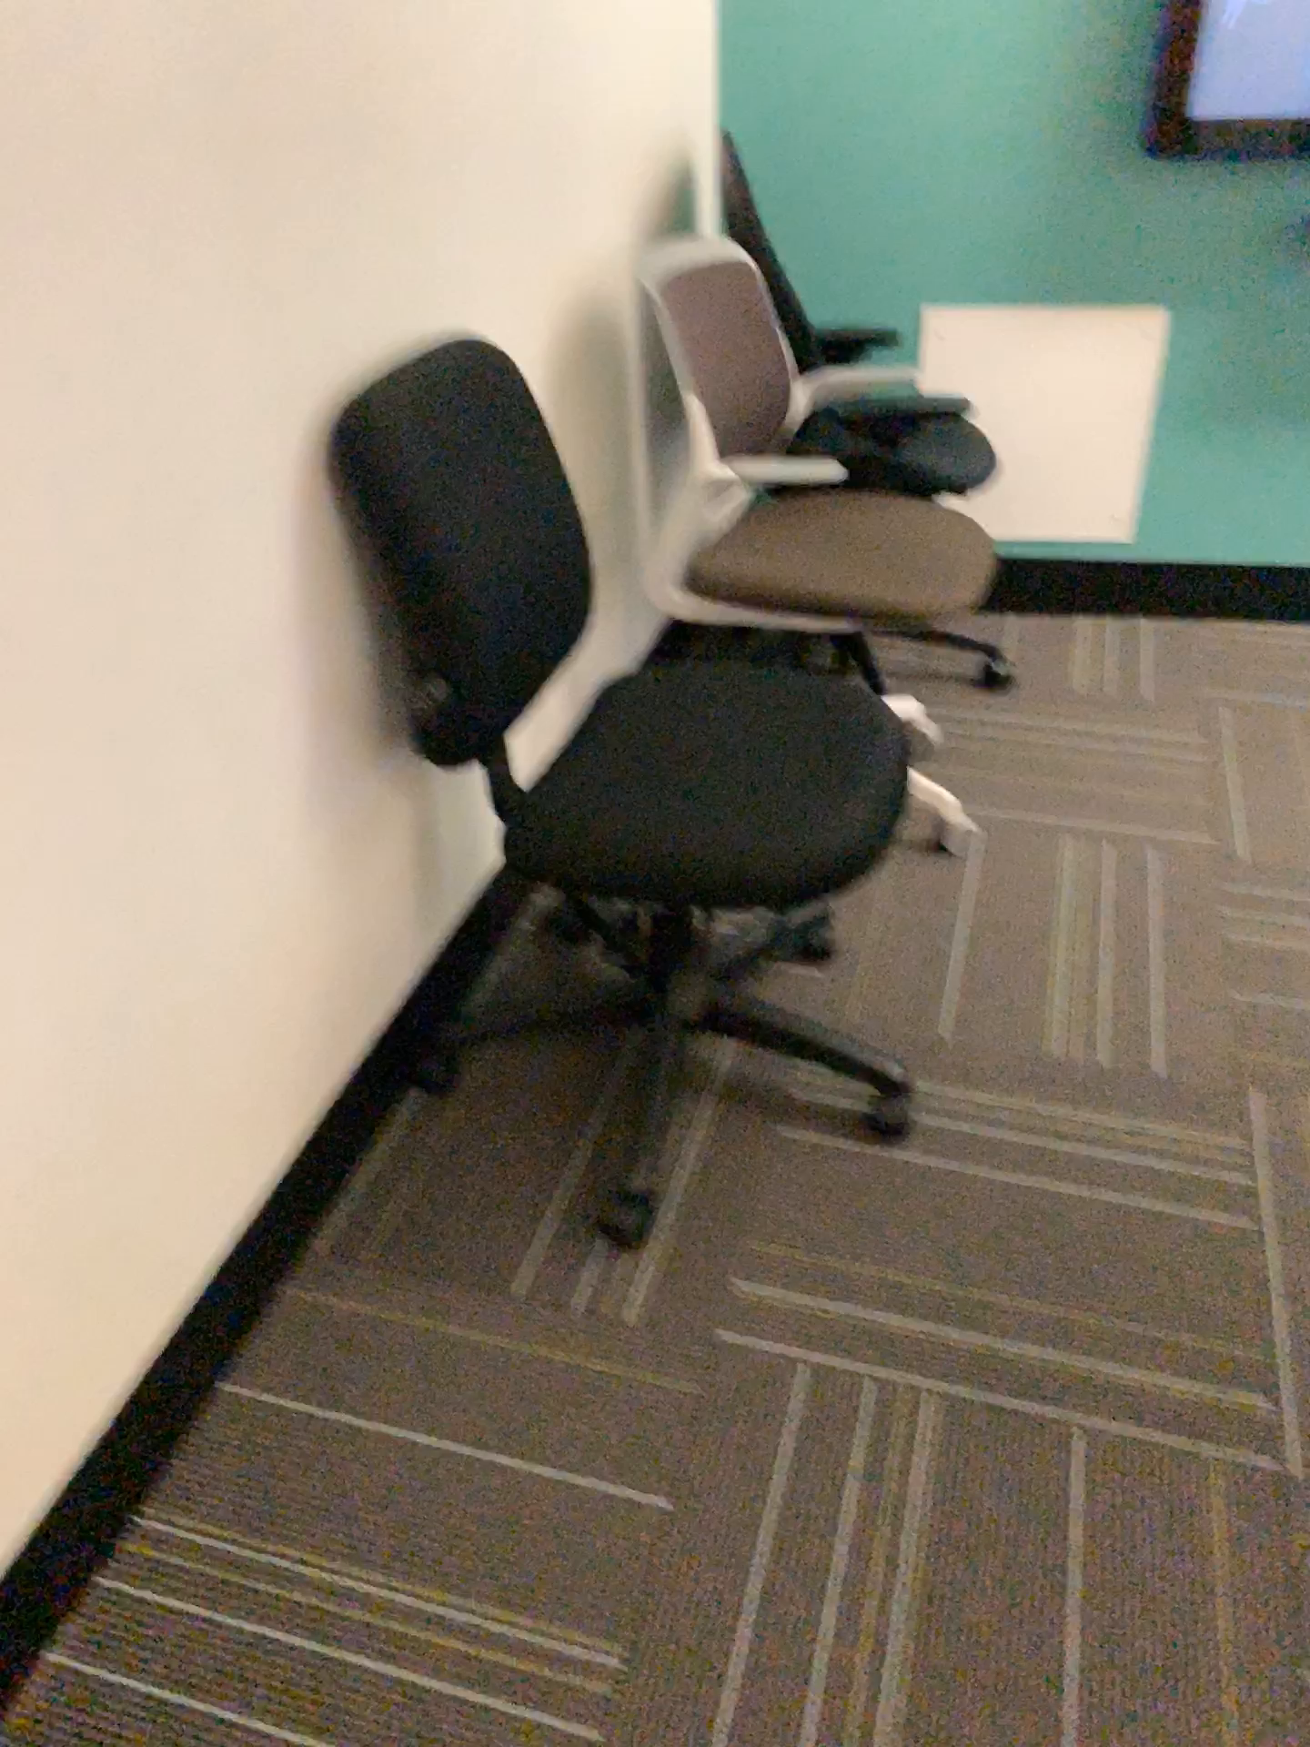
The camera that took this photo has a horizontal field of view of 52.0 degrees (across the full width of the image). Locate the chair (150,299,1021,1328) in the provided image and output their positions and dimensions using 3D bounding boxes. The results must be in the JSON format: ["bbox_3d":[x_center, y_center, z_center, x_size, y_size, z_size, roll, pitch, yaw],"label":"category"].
[{"bbox_3d":[0.000,-0.106,1.683,0.741,0.994,0.683,8,35,13],"label":"chair"}]
